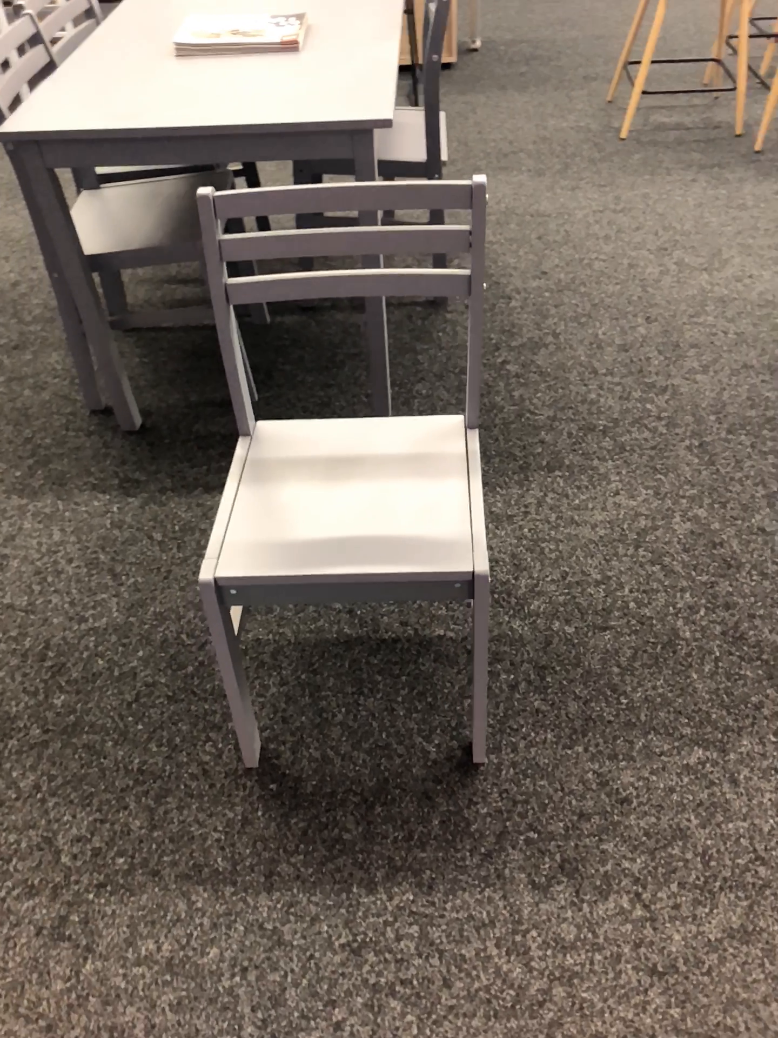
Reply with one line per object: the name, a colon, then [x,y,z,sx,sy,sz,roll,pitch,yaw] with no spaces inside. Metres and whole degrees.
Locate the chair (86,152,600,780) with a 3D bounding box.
chair: [-0.030,-0.044,1.252,0.490,0.766,0.493,-2,44,1]
